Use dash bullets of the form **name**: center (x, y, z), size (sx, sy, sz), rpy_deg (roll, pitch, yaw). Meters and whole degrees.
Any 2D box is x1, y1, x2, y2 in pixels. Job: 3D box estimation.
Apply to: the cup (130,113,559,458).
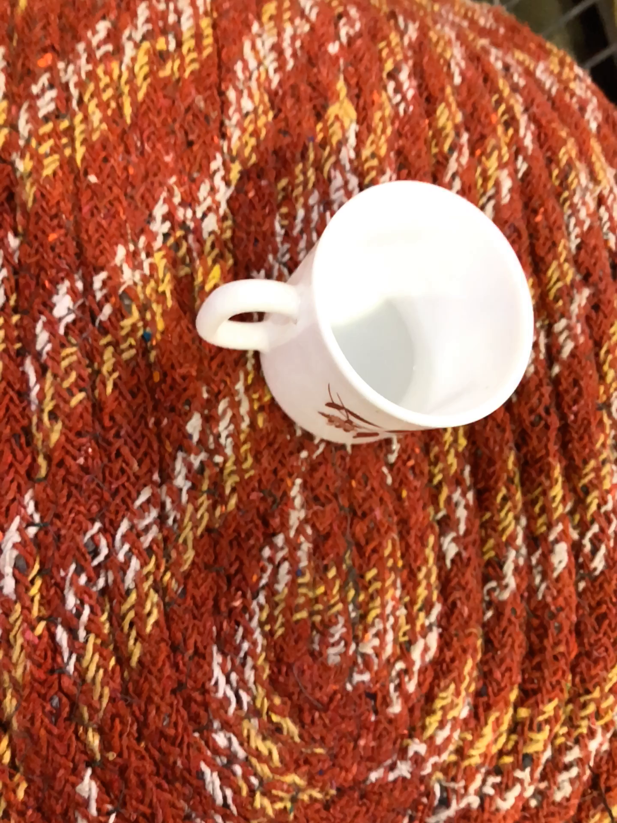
- **cup**: center (0.005, -0.023, 0.179), size (0.090, 0.060, 0.060), rpy_deg (3, 78, -21)
